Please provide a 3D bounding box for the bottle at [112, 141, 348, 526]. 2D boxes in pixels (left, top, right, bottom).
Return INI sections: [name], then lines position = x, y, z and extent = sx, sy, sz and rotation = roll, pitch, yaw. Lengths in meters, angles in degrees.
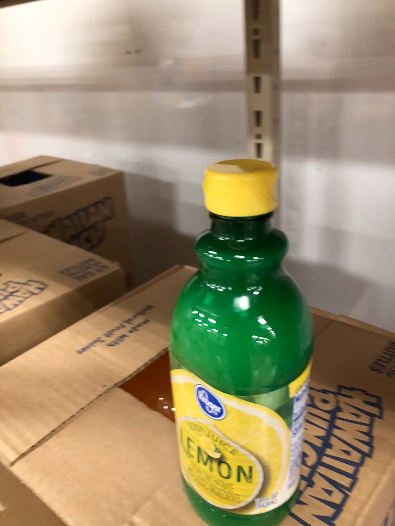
[bottle]
position = 0.021, 0.042, 0.214
extent = 0.070, 0.184, 0.070
rotation = -3, 24, 1
